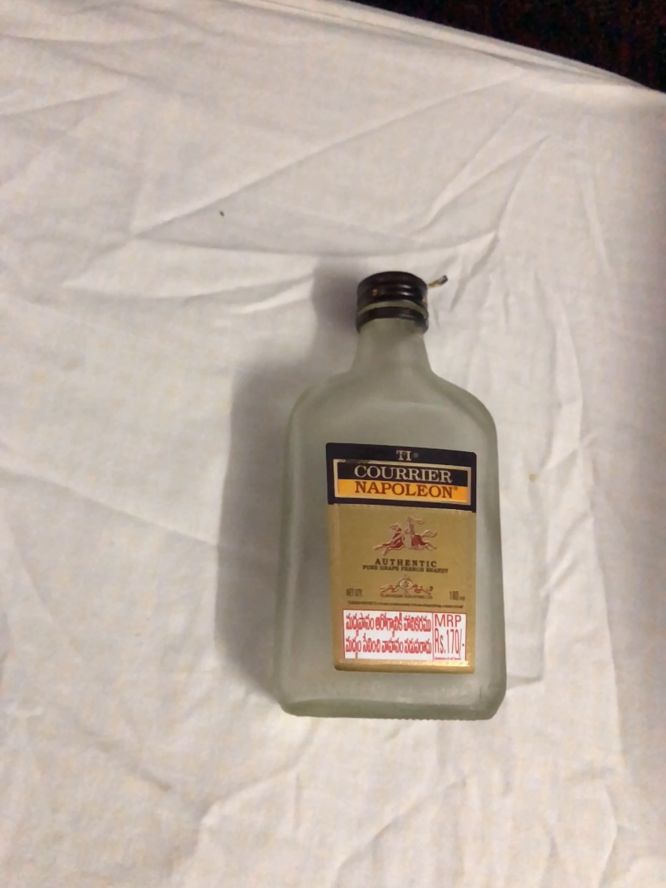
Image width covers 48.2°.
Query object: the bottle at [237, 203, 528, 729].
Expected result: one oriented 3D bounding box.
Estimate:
[{"bbox_3d":[0.015,0.007,0.247,0.080,0.040,0.160,5,73,-11],"label":"bottle"}]
